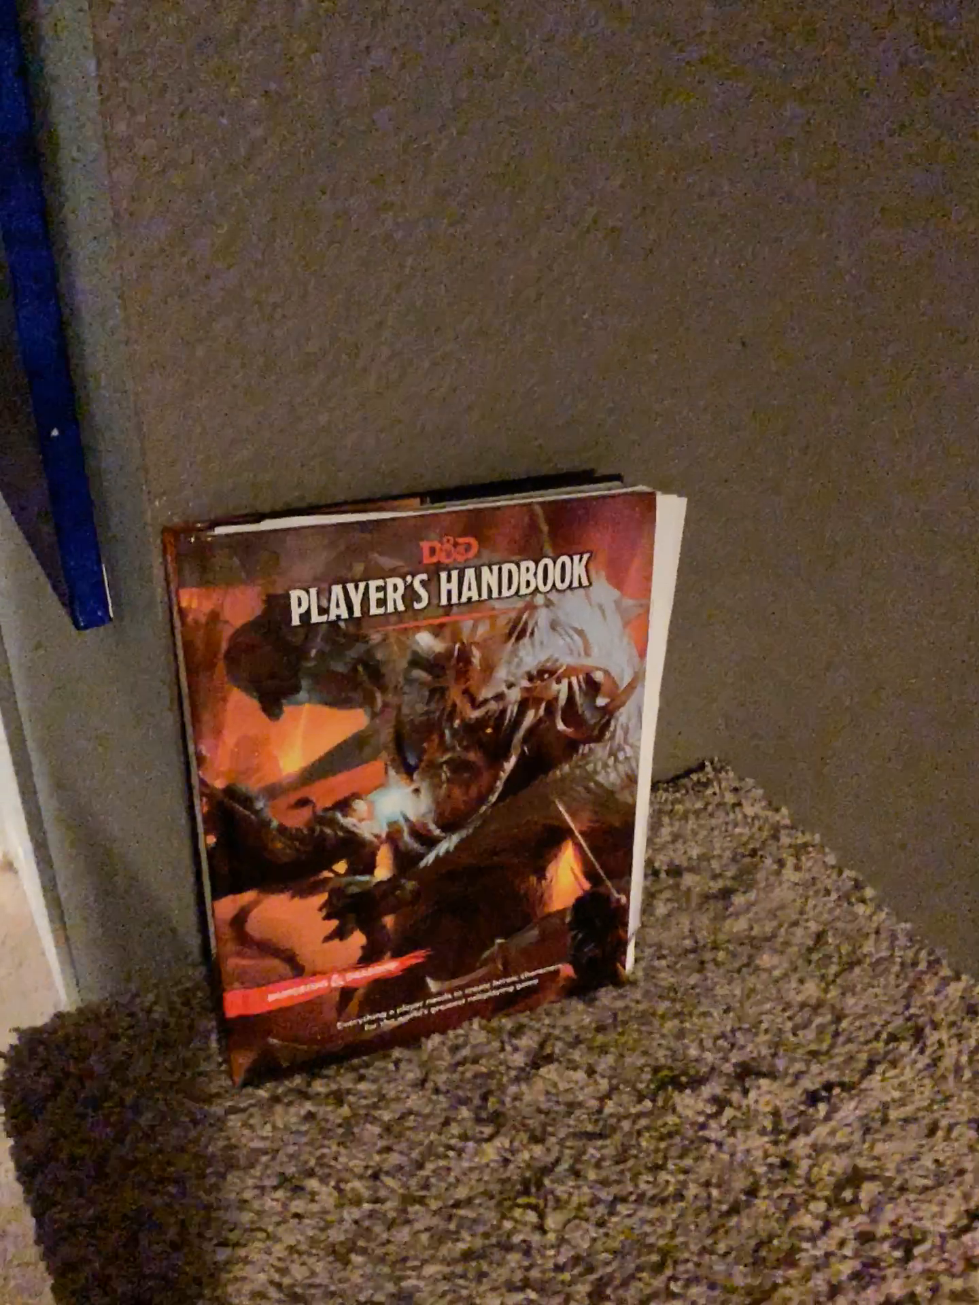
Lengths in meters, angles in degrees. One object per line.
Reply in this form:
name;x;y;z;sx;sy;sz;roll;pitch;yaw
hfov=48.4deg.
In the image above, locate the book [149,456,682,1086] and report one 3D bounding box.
book;-0.029;0.060;0.536;0.230;0.290;0.040;-9;28;-20
